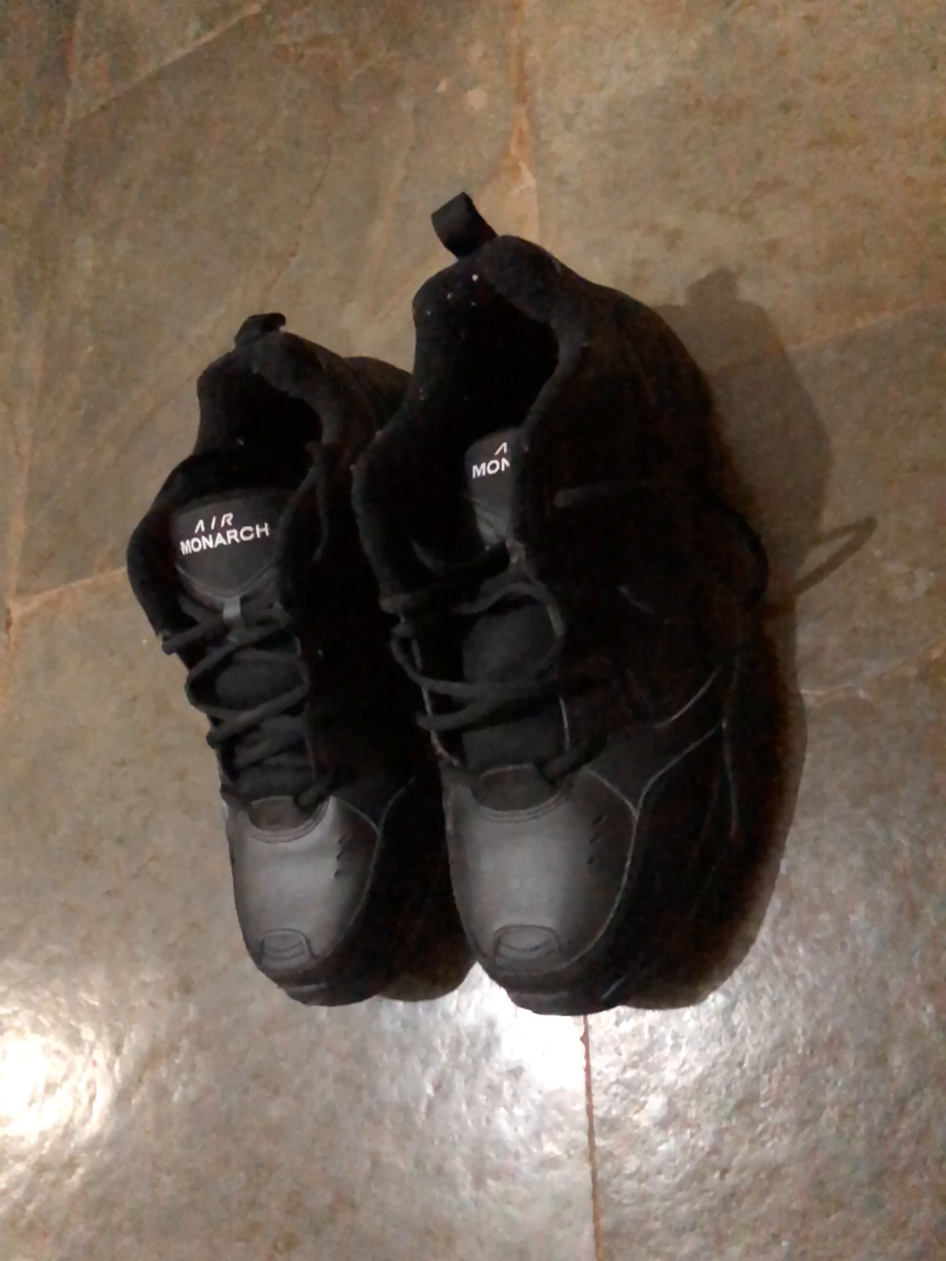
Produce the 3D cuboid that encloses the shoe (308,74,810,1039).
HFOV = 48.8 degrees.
[{"bbox_3d":[0.029,-0.019,0.374,0.120,0.110,0.301,-11,68,29],"label":"shoe"}]

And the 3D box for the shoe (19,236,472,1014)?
[{"bbox_3d":[-0.084,0.006,0.430,0.120,0.110,0.281,-13,68,28],"label":"shoe"}]
